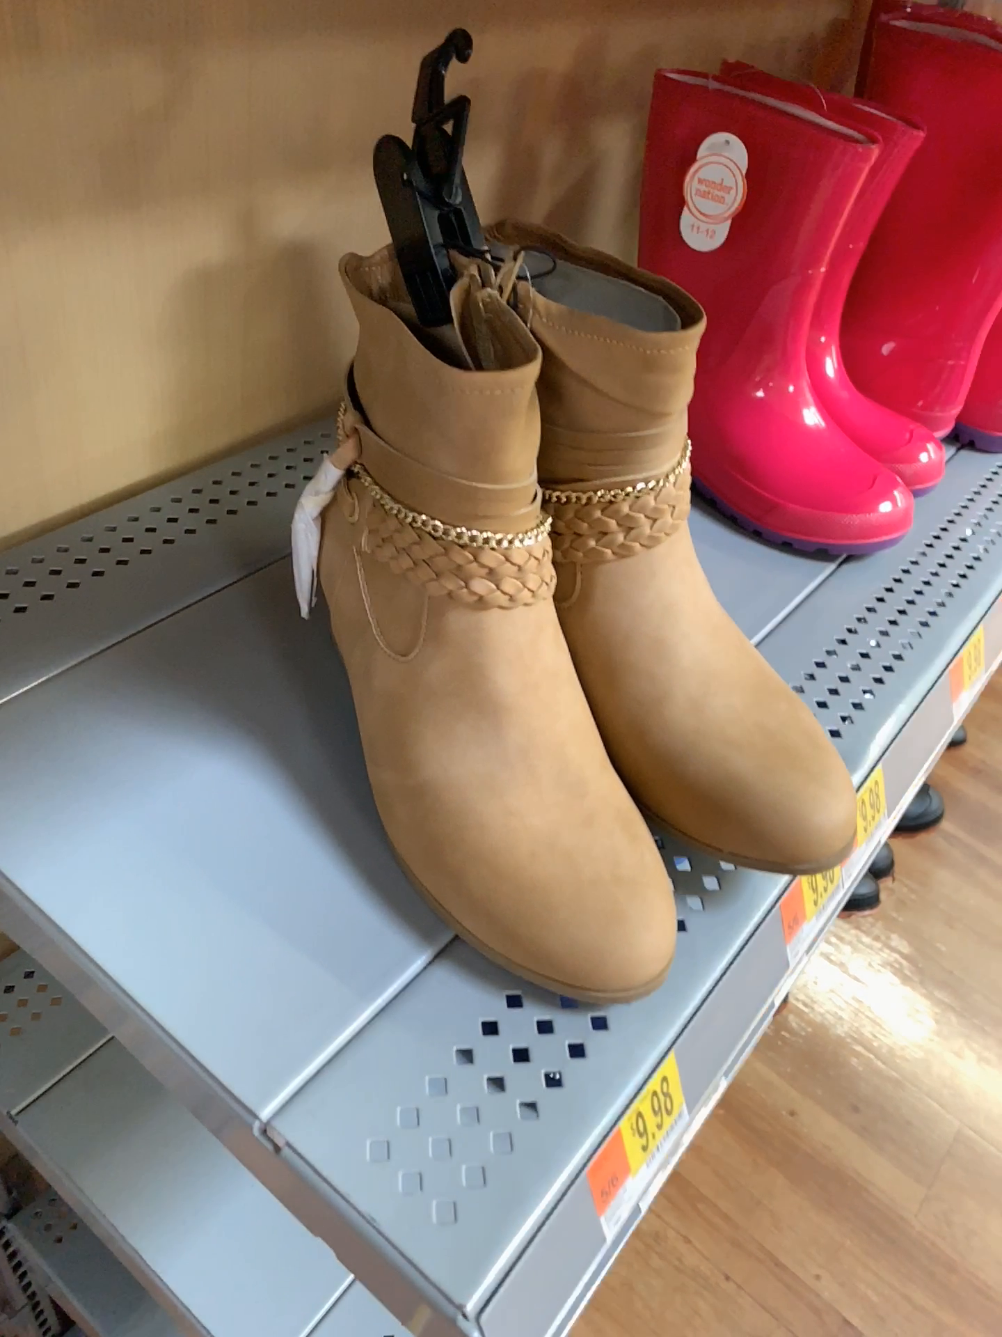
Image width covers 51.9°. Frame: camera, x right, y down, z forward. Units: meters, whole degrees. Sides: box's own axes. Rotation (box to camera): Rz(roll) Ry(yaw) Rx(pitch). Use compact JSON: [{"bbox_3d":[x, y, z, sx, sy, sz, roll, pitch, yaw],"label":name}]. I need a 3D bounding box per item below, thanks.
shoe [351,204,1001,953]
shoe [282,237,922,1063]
[{"bbox_3d":[0.043,-0.046,0.383,0.083,0.154,0.238,-19,50,-31],"label":"shoe"},{"bbox_3d":[0.001,-0.020,0.344,0.088,0.161,0.218,-10,46,-24],"label":"shoe"}]
